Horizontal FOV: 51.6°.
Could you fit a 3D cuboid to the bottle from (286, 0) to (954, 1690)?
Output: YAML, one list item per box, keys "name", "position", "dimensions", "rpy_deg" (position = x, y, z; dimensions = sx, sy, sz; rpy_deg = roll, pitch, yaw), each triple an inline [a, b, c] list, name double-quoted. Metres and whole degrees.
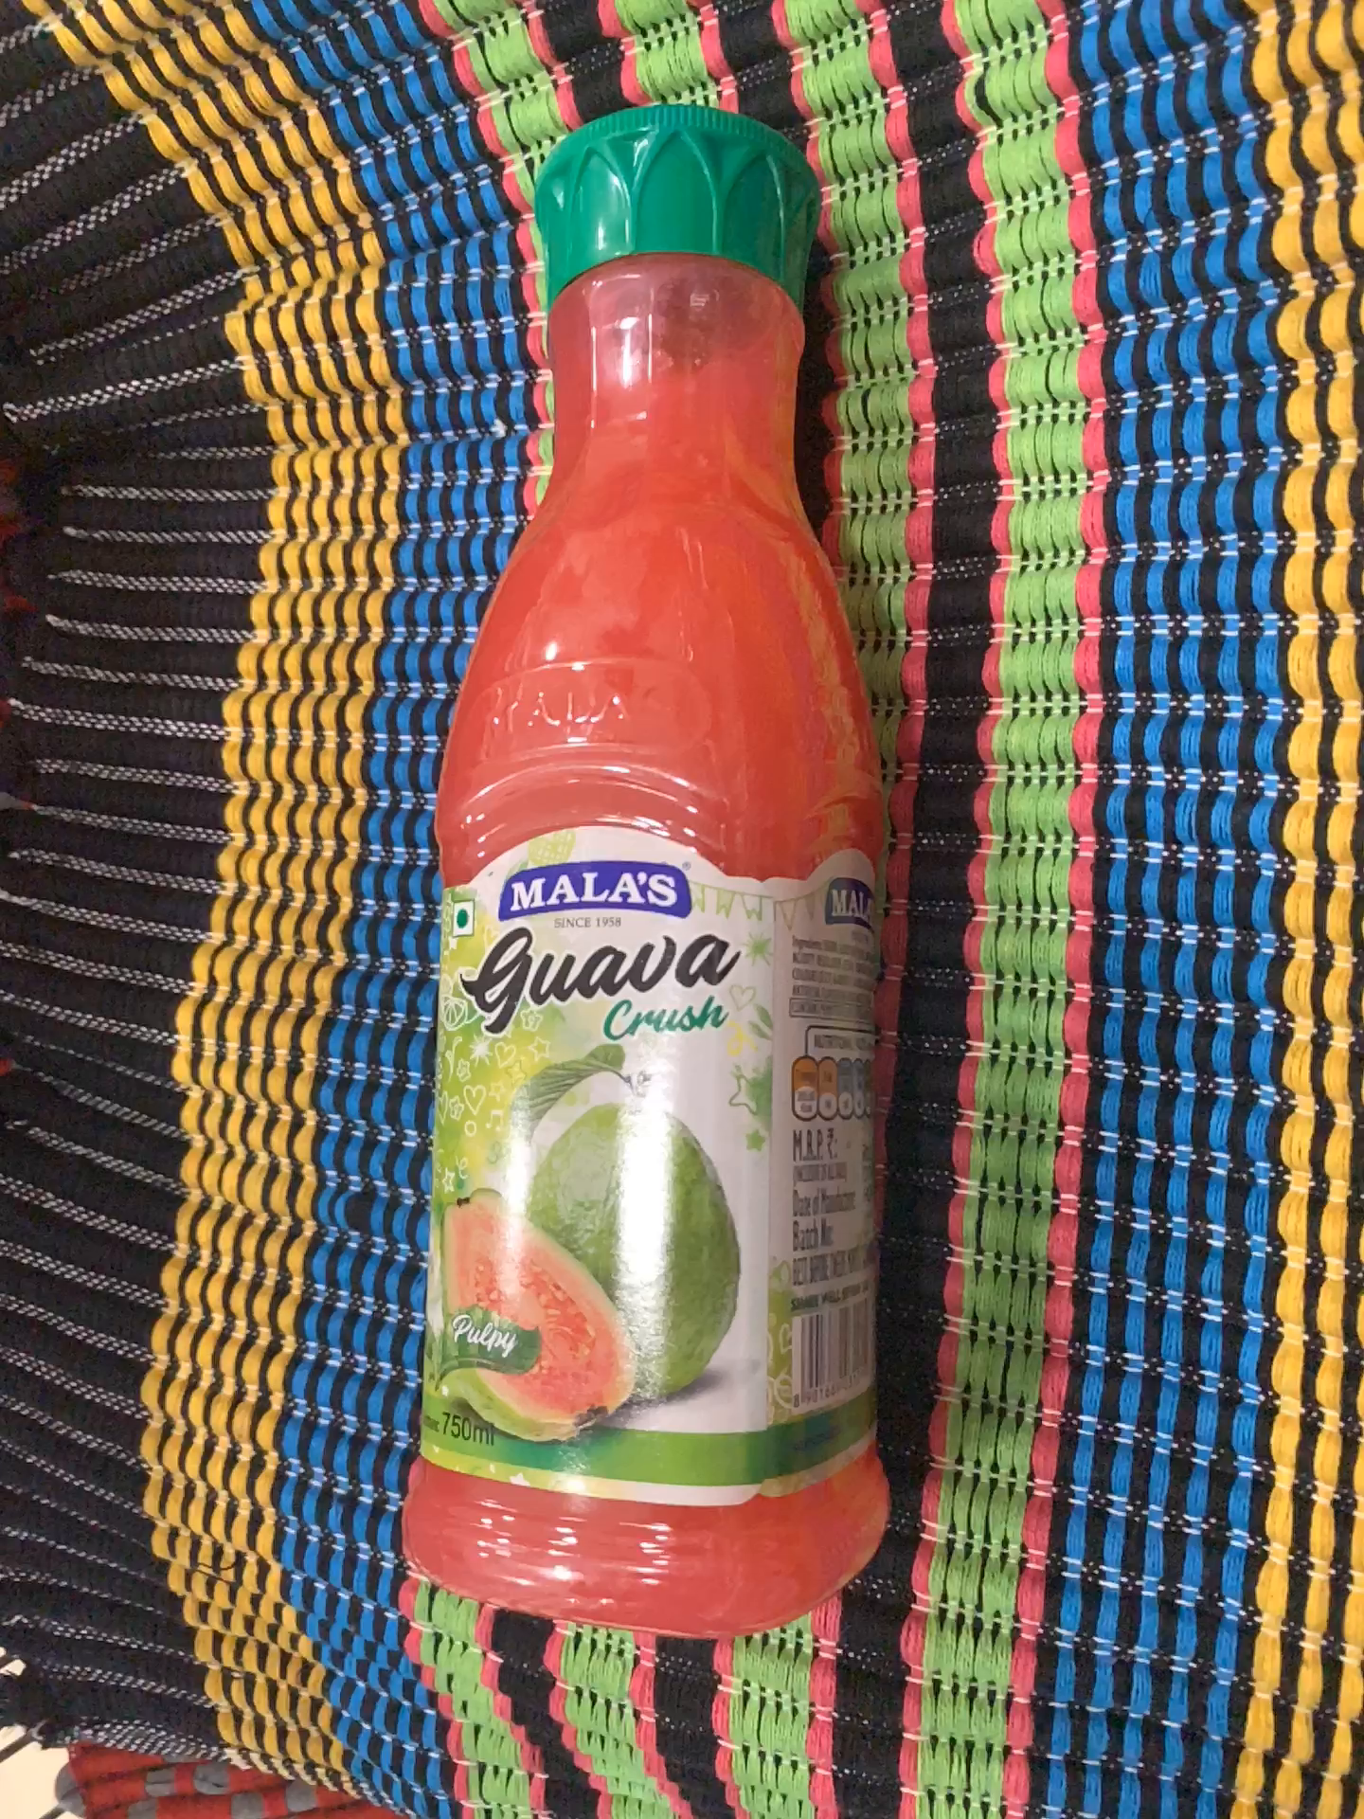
- name: "bottle"
  position: [-0.003, -0.023, 0.249]
  dimensions: [0.080, 0.080, 0.260]
  rpy_deg: [-3, 79, 24]
